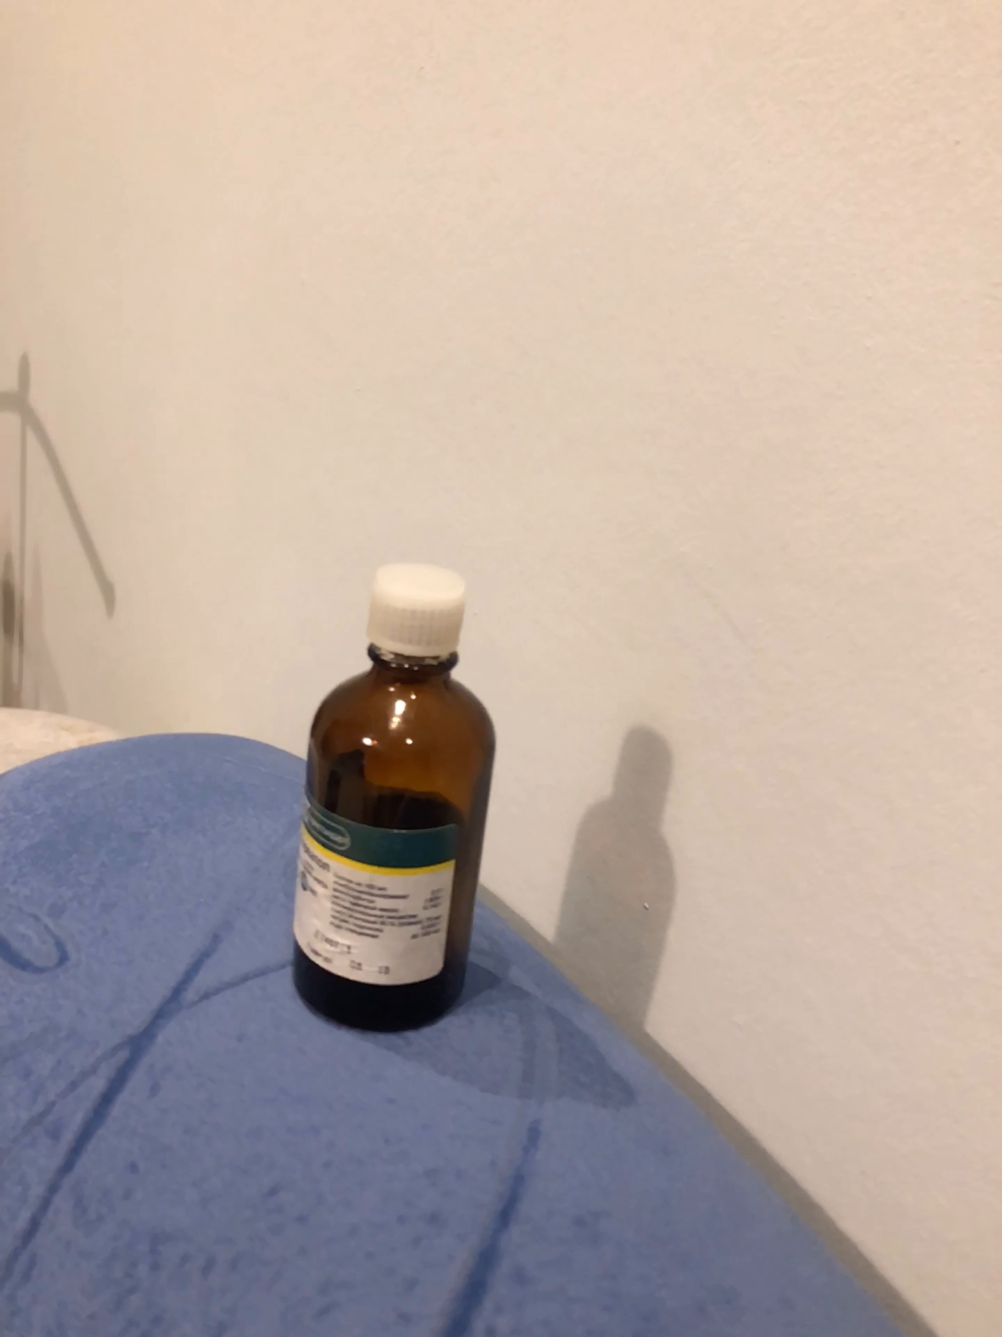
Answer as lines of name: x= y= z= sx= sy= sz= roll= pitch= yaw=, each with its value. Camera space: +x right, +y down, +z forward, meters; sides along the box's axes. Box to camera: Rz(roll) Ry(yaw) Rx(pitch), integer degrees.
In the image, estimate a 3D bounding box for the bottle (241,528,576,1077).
bottle: x=-0.023 y=0.026 z=0.233 sx=0.040 sy=0.099 sz=0.045 roll=-7 pitch=27 yaw=-37
